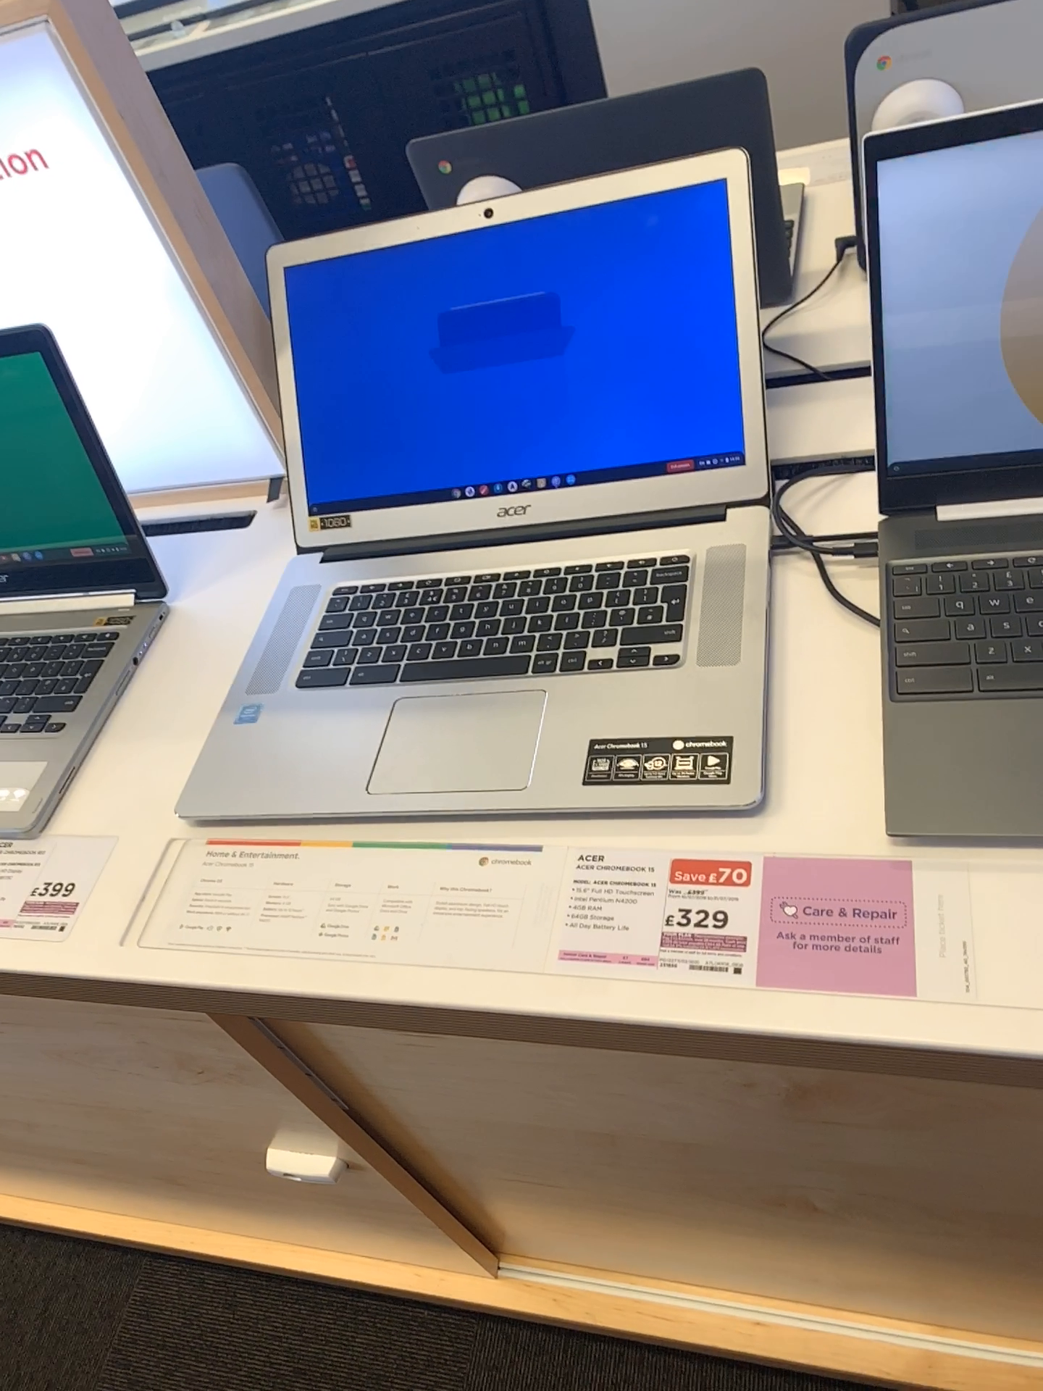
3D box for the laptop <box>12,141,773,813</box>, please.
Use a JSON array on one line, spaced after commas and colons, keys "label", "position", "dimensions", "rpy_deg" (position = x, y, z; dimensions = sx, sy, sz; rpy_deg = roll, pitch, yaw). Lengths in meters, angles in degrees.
[{"label": "laptop", "position": [-0.038, -0.153, 0.716], "dimensions": [0.375, 0.168, 0.433], "rpy_deg": [-3, 48, 18]}]
